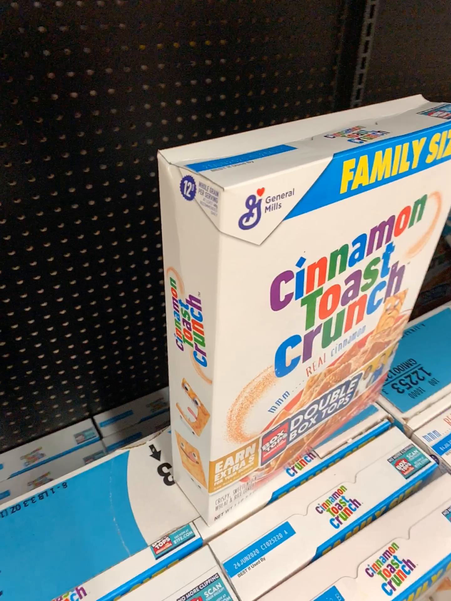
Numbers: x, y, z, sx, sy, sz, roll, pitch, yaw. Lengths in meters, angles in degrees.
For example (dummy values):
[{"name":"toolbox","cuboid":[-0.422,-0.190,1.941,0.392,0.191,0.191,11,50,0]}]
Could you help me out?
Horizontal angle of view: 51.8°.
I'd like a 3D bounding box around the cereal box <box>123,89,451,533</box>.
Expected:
[{"name":"cereal box","cuboid":[0.057,0.013,0.368,0.240,0.298,0.060,-24,44,-30]}]
